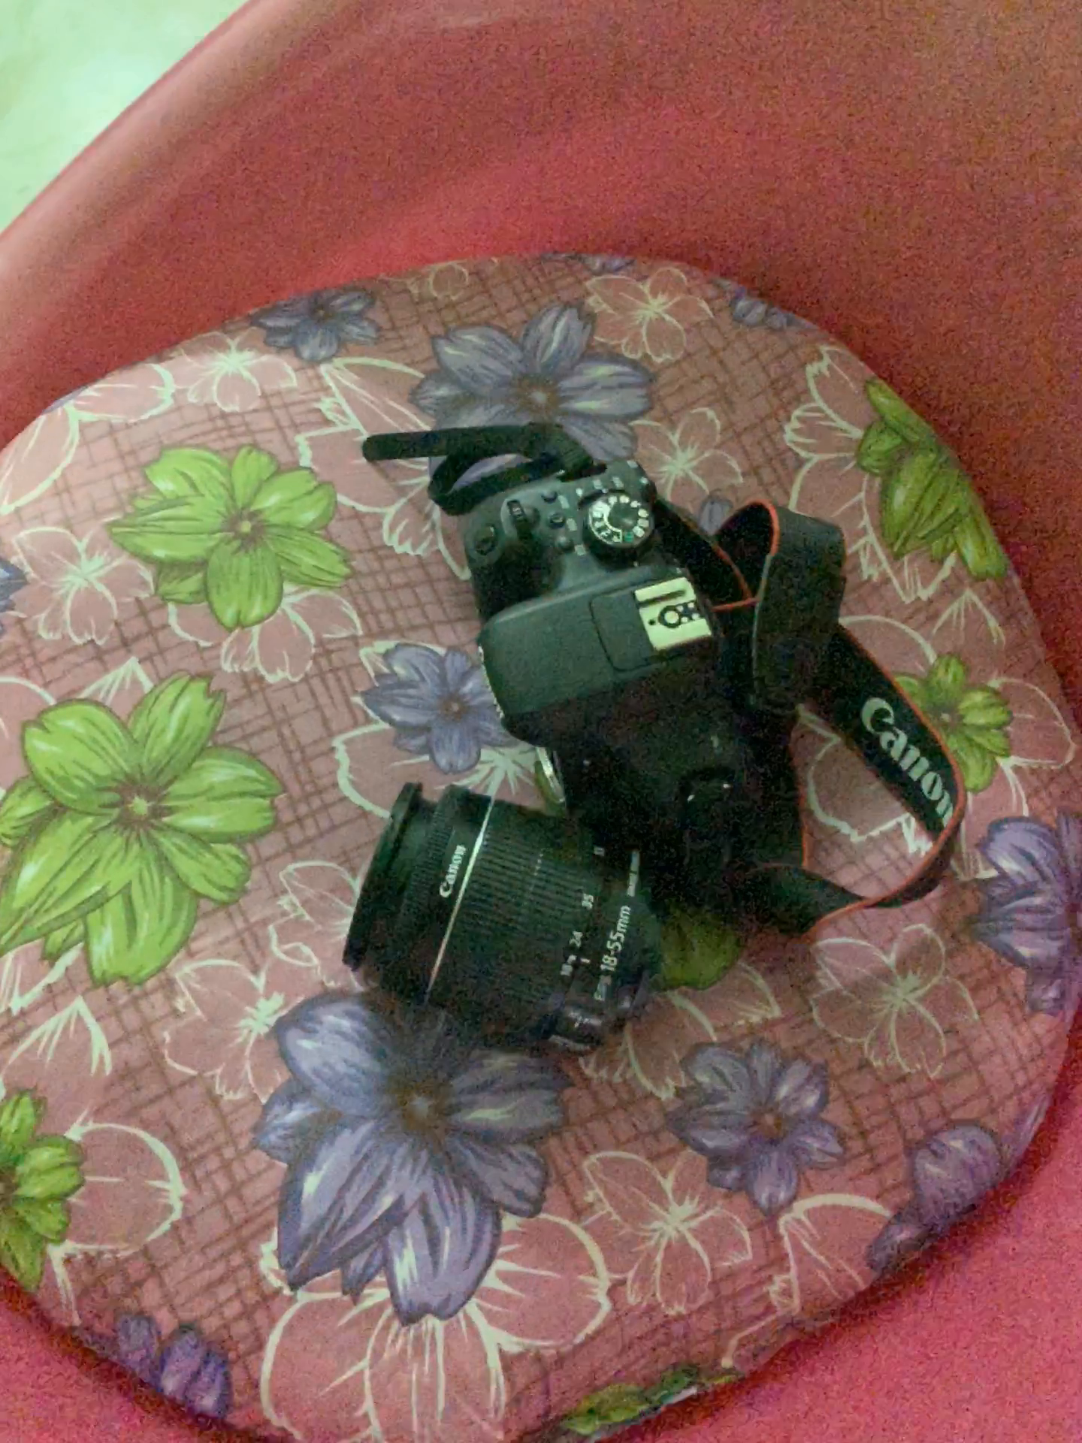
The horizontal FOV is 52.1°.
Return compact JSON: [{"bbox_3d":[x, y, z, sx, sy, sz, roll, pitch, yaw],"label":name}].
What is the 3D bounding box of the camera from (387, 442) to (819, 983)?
[{"bbox_3d":[0.015,-0.003,0.371,0.086,0.079,0.143,-18,67,-8],"label":"camera"}]
